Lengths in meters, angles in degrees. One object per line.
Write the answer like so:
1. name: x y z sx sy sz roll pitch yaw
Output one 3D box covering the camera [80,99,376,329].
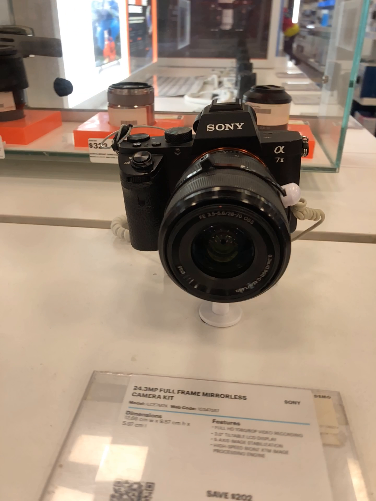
1. camera: 0.023 -0.038 0.285 0.140 0.100 0.151 2 28 3
